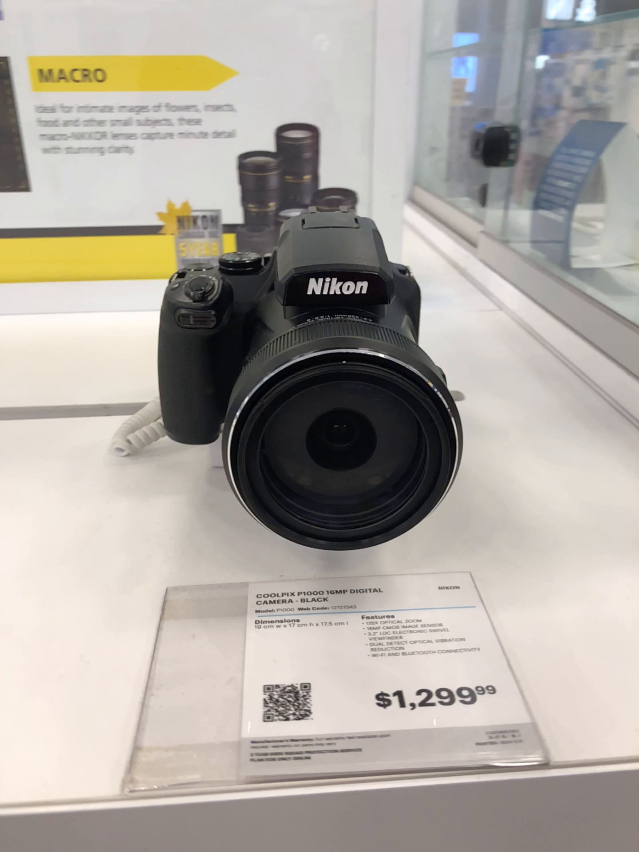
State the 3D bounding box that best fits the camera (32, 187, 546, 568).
[{"bbox_3d":[-0.013,-0.041,0.331,0.160,0.110,0.191,-2,25,-3],"label":"camera"}]
